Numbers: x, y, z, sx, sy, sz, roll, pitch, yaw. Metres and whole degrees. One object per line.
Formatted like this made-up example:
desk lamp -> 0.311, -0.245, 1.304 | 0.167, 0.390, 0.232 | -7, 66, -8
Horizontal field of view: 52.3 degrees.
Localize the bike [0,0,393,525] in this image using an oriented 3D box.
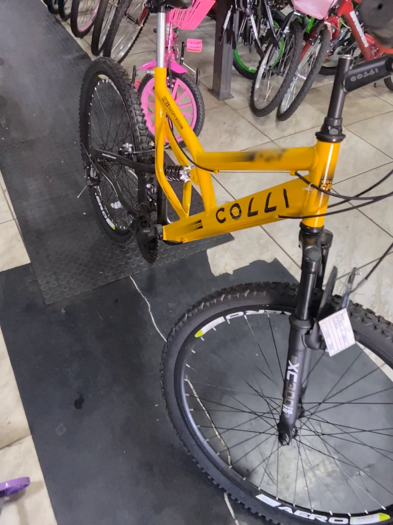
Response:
bike -> -0.011, -0.219, 0.917 | 0.476, 0.987, 1.524 | -27, 52, -24
